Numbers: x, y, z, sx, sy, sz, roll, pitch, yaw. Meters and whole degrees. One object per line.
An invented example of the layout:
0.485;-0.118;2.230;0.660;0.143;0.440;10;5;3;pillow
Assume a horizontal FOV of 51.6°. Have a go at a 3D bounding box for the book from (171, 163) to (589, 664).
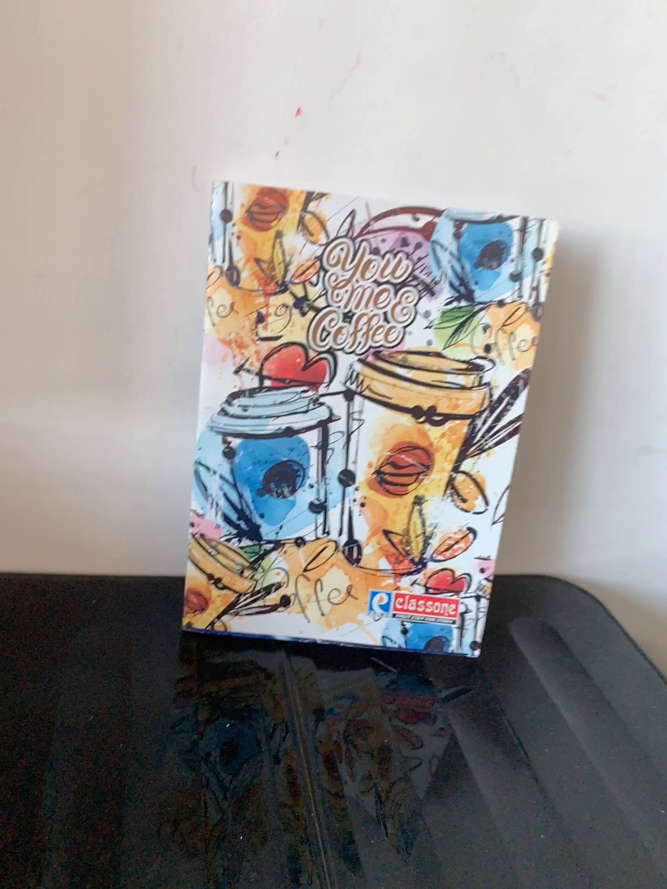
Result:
0.020;-0.008;0.458;0.220;0.299;0.050;7;15;-6;book
